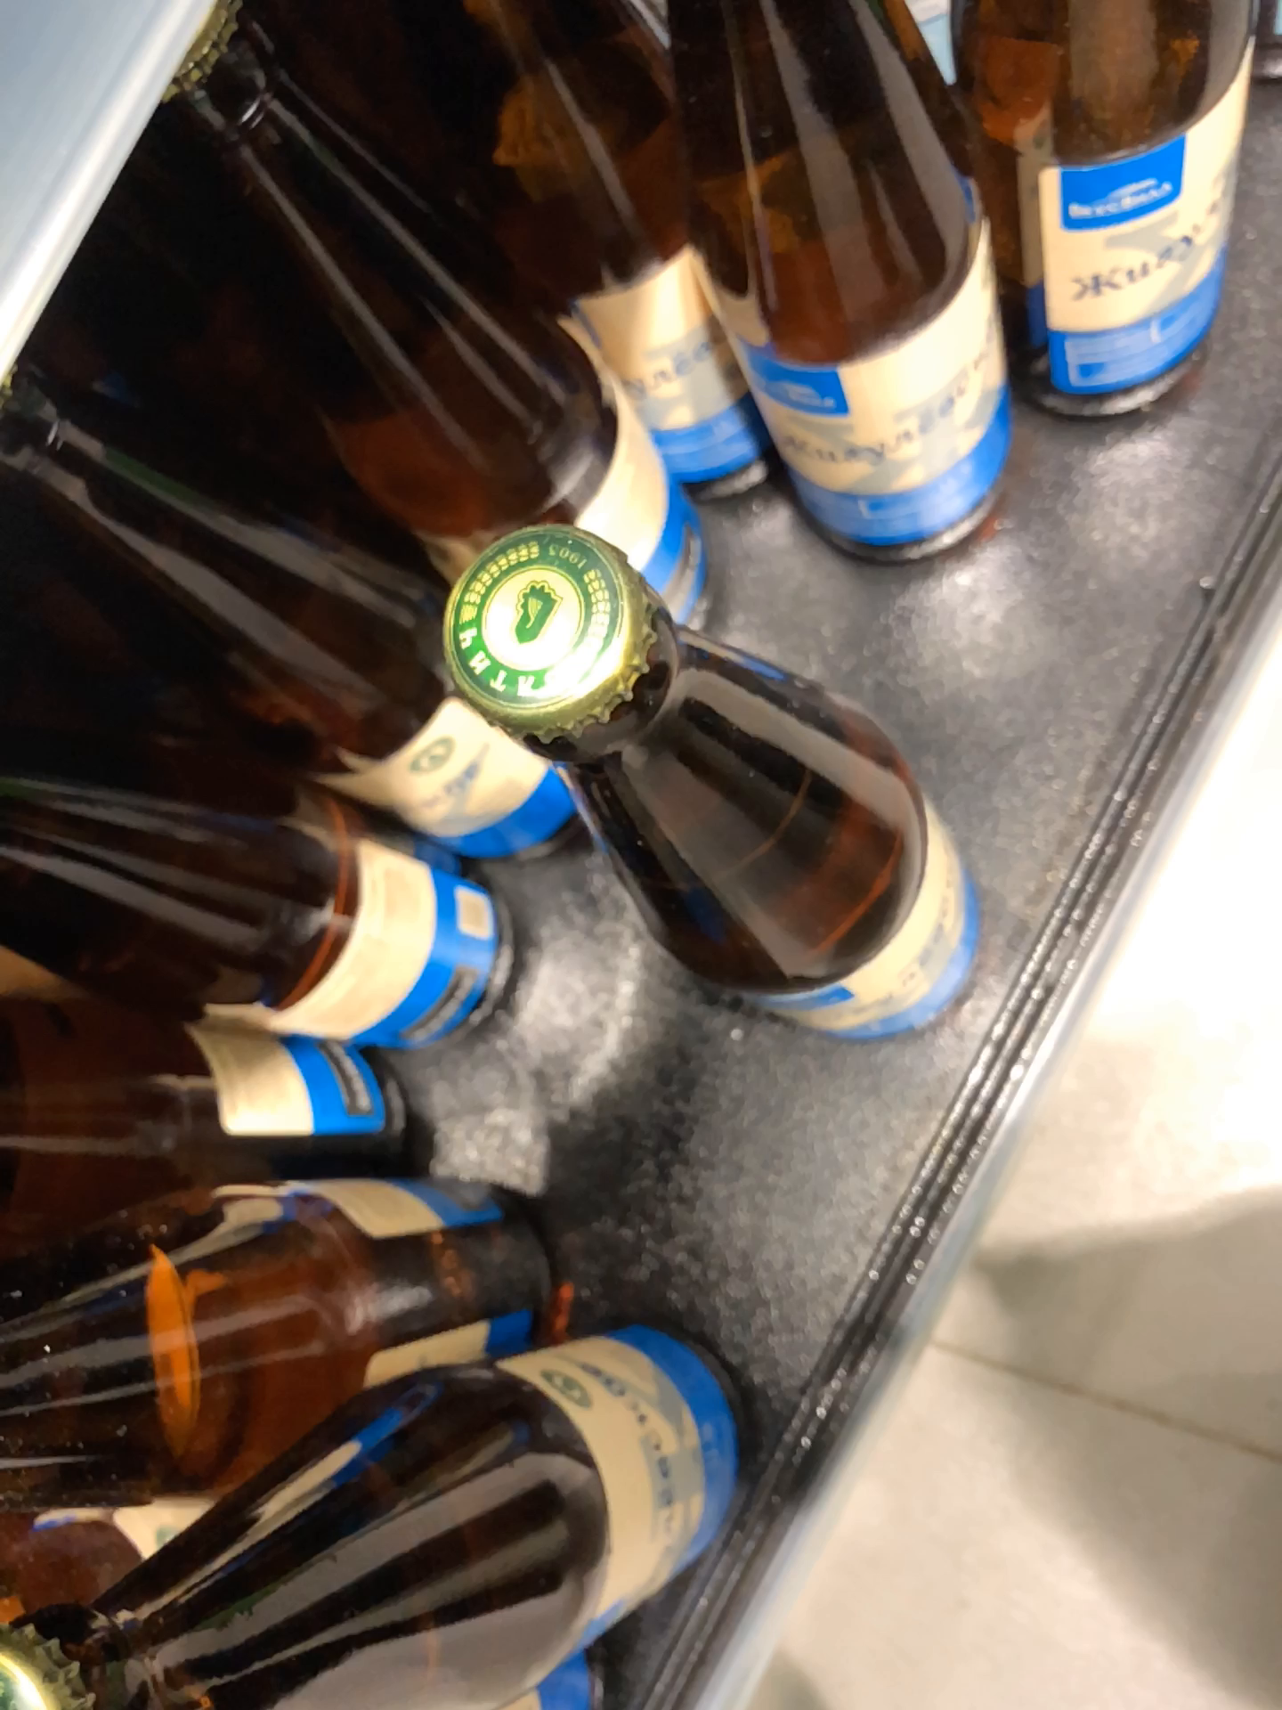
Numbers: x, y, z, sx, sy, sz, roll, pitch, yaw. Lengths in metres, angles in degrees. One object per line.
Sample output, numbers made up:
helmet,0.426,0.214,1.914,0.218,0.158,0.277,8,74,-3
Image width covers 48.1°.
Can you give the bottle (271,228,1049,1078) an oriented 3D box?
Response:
bottle,0.032,-0.010,0.300,0.070,0.250,0.070,-3,78,16
